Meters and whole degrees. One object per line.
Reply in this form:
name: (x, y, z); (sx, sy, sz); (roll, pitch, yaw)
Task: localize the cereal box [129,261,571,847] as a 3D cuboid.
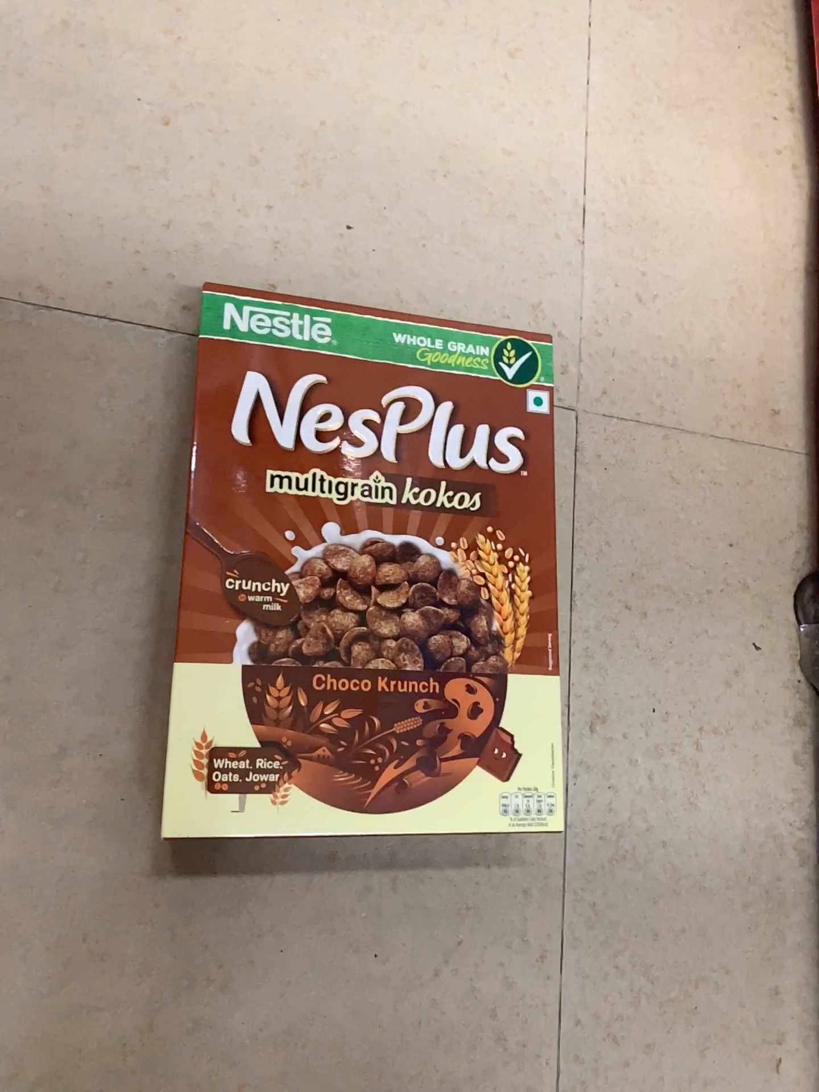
cereal box: (-0.029, 0.011, 0.463); (0.210, 0.090, 0.280); (5, 77, -16)
